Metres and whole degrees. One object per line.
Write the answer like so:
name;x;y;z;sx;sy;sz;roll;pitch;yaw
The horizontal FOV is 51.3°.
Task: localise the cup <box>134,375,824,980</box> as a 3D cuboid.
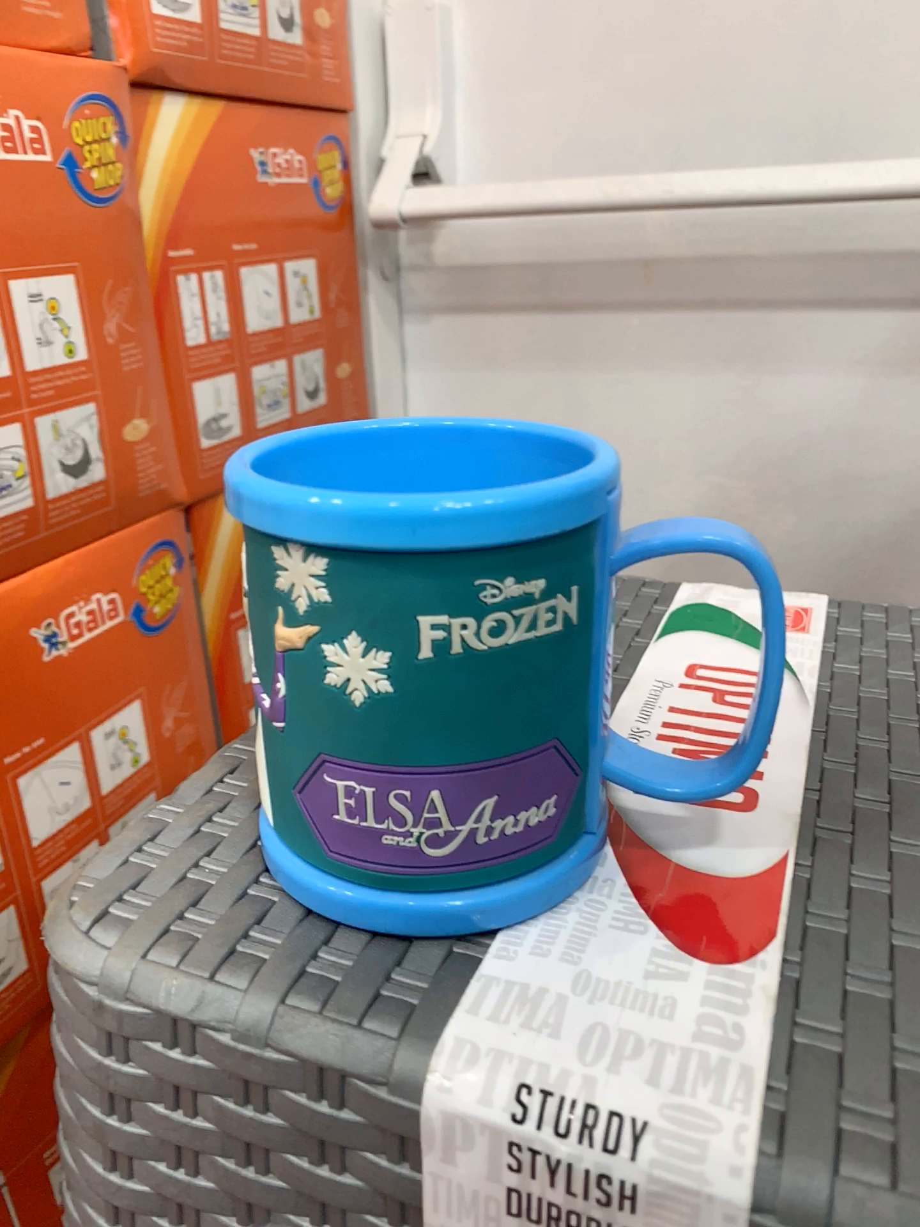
cup;0.007;0.006;0.206;0.110;0.099;0.081;1;21;8
